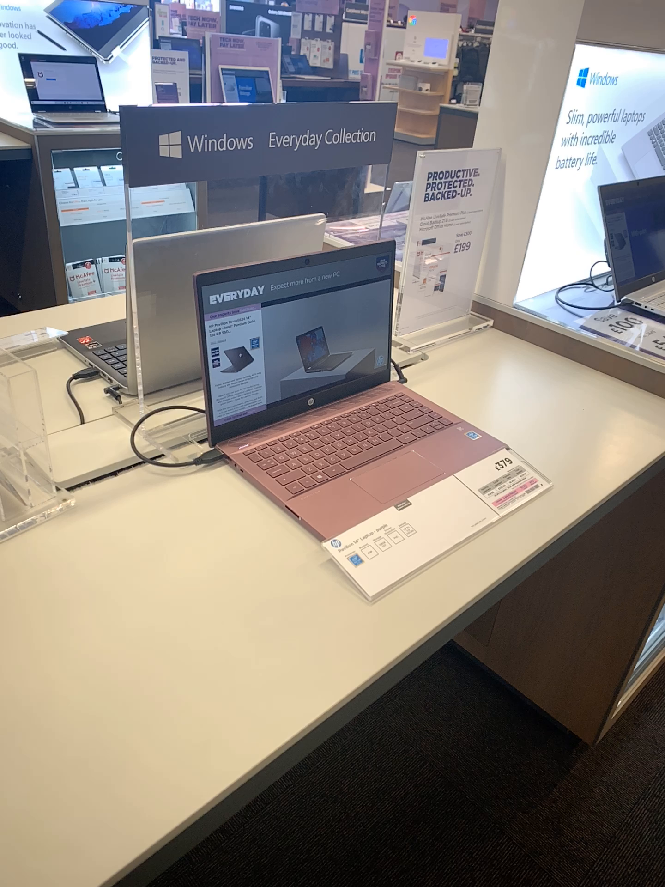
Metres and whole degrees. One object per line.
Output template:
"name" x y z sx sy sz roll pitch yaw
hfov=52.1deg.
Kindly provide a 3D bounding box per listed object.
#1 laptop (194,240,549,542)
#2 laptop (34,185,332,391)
"laptop" 0.040 -0.089 0.807 0.313 0.200 0.250 -21 41 -38
"laptop" -0.211 -0.247 1.001 0.325 0.186 0.244 -23 41 -39
